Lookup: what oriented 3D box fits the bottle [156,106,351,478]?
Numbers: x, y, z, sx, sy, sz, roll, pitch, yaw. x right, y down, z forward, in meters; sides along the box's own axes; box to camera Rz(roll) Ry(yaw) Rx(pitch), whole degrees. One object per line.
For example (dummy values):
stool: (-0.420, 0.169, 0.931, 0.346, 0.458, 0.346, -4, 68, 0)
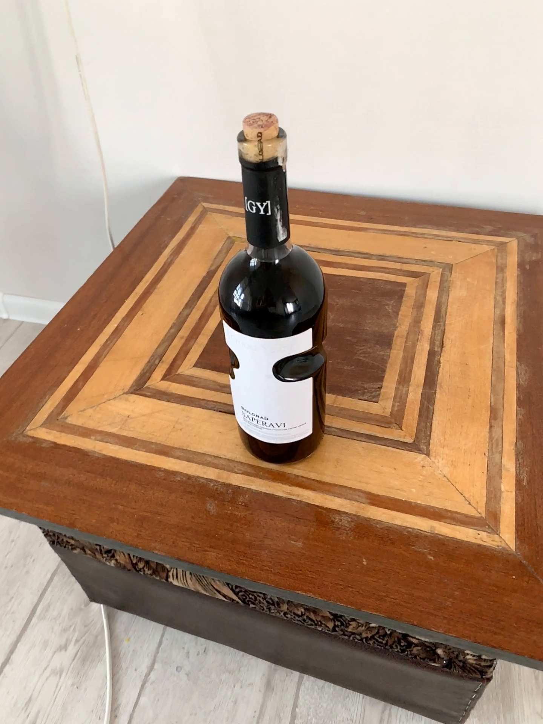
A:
bottle: (0.000, -0.036, 0.424, 0.090, 0.269, 0.090, -2, 44, 2)
